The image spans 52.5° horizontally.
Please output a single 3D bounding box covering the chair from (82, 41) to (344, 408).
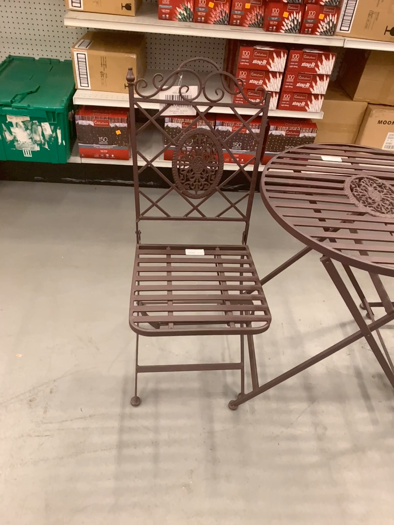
[{"bbox_3d":[-0.019,-0.069,1.126,0.421,0.839,0.566,0,44,-6],"label":"chair"}]
